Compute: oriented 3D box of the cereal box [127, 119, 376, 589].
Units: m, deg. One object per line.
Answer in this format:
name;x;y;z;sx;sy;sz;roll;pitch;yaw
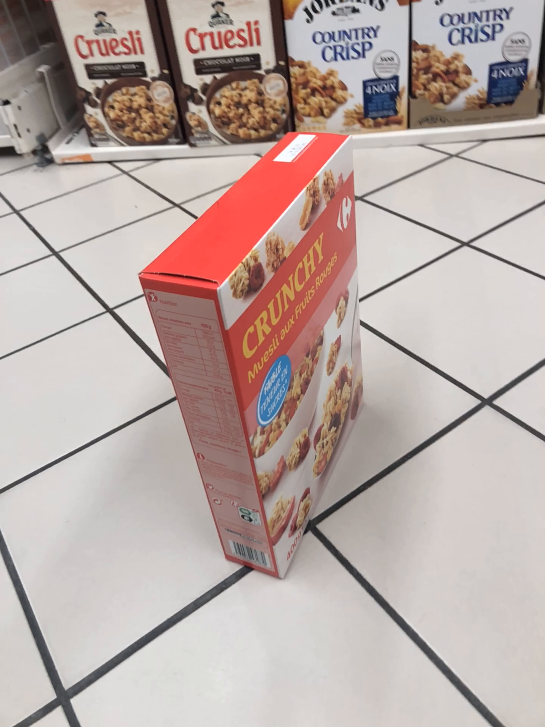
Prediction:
cereal box;0.013;-0.007;0.415;0.060;0.249;0.201;10;43;22
